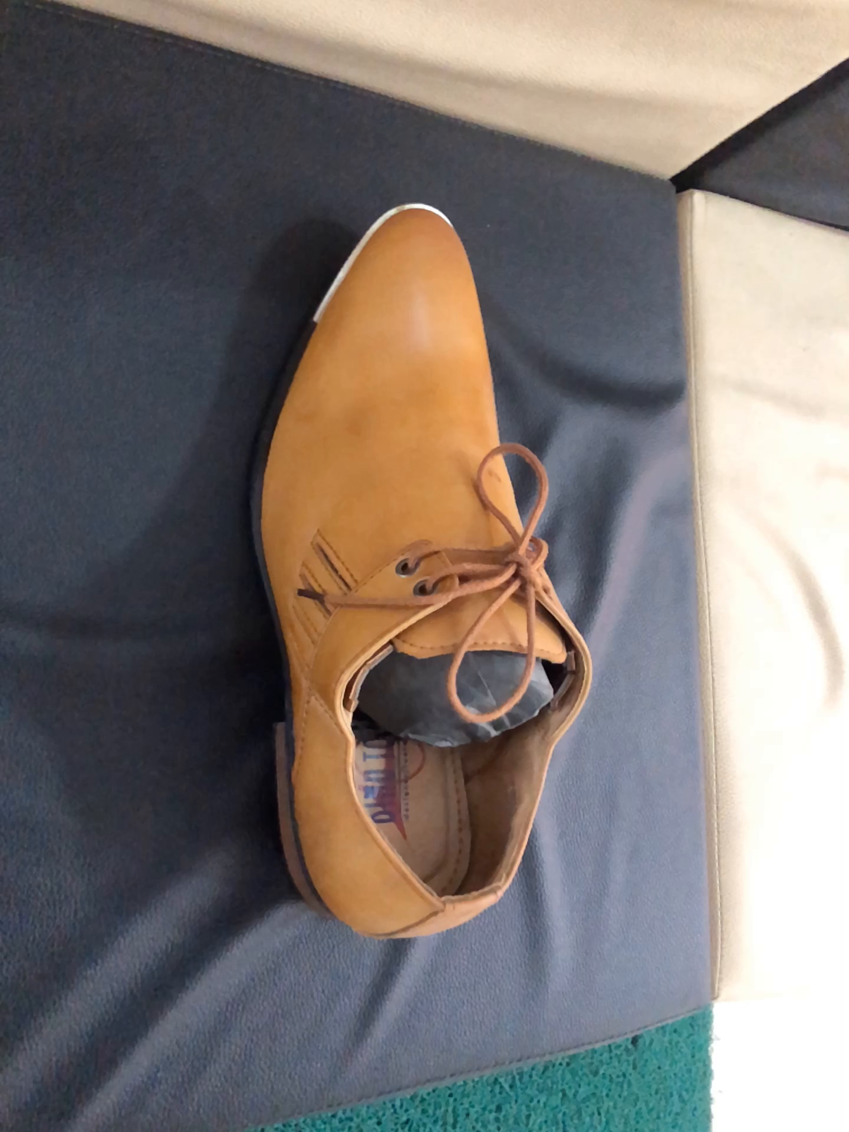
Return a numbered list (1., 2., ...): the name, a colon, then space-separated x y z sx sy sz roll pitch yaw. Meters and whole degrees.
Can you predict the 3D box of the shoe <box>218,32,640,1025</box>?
1. shoe: 0.002 -0.011 0.348 0.111 0.100 0.300 7 81 -26
